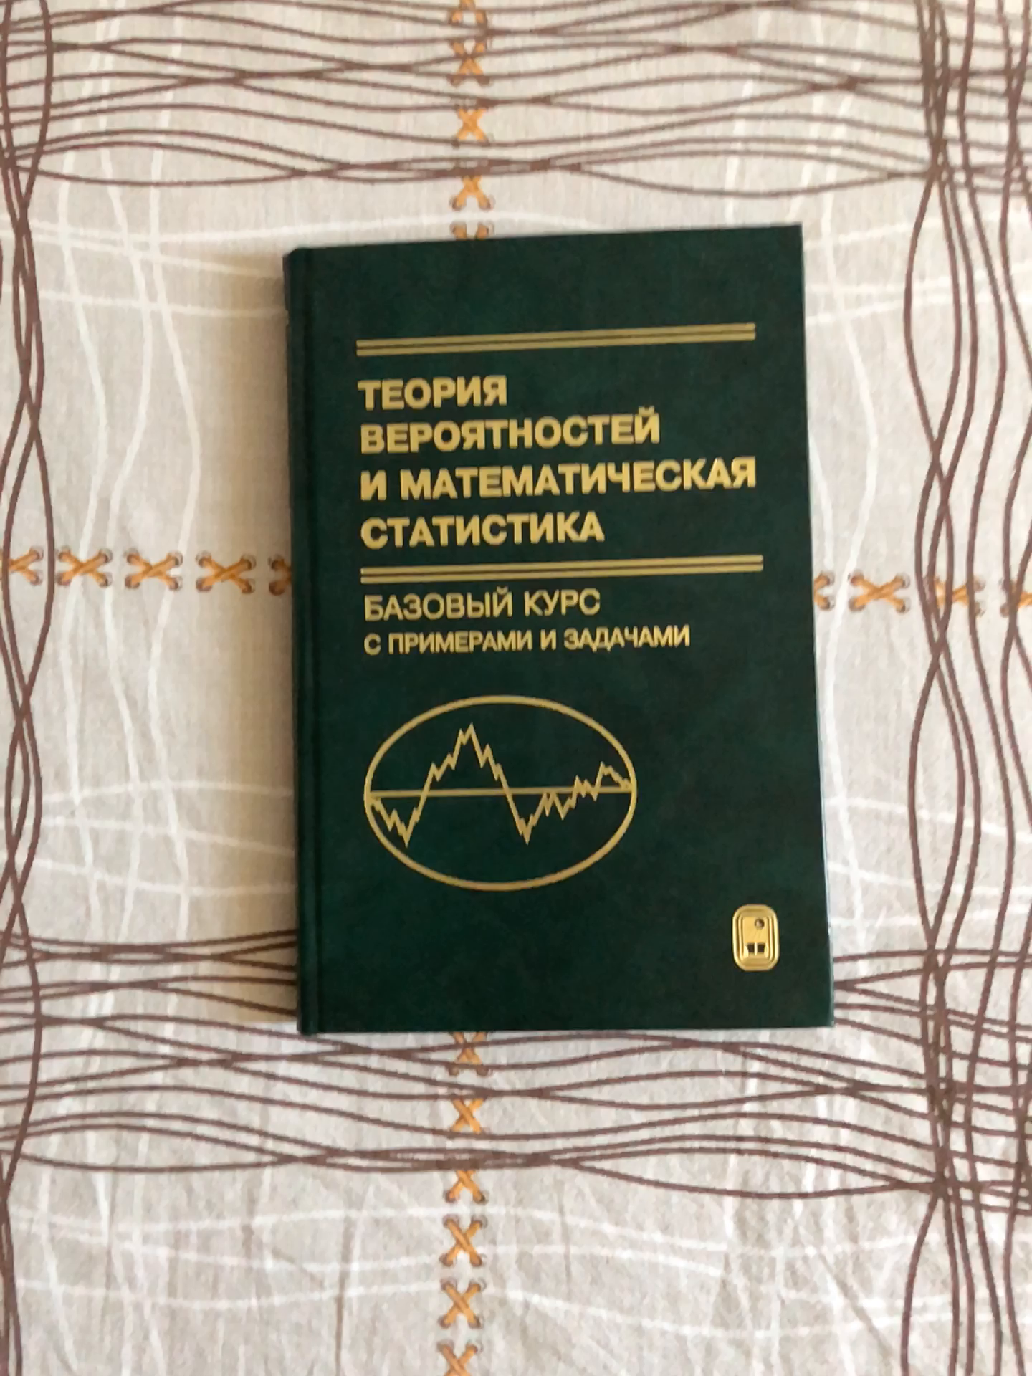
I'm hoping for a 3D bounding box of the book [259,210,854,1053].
[{"bbox_3d":[0.009,-0.015,0.312,0.150,0.030,0.217,-1,87,3],"label":"book"}]
